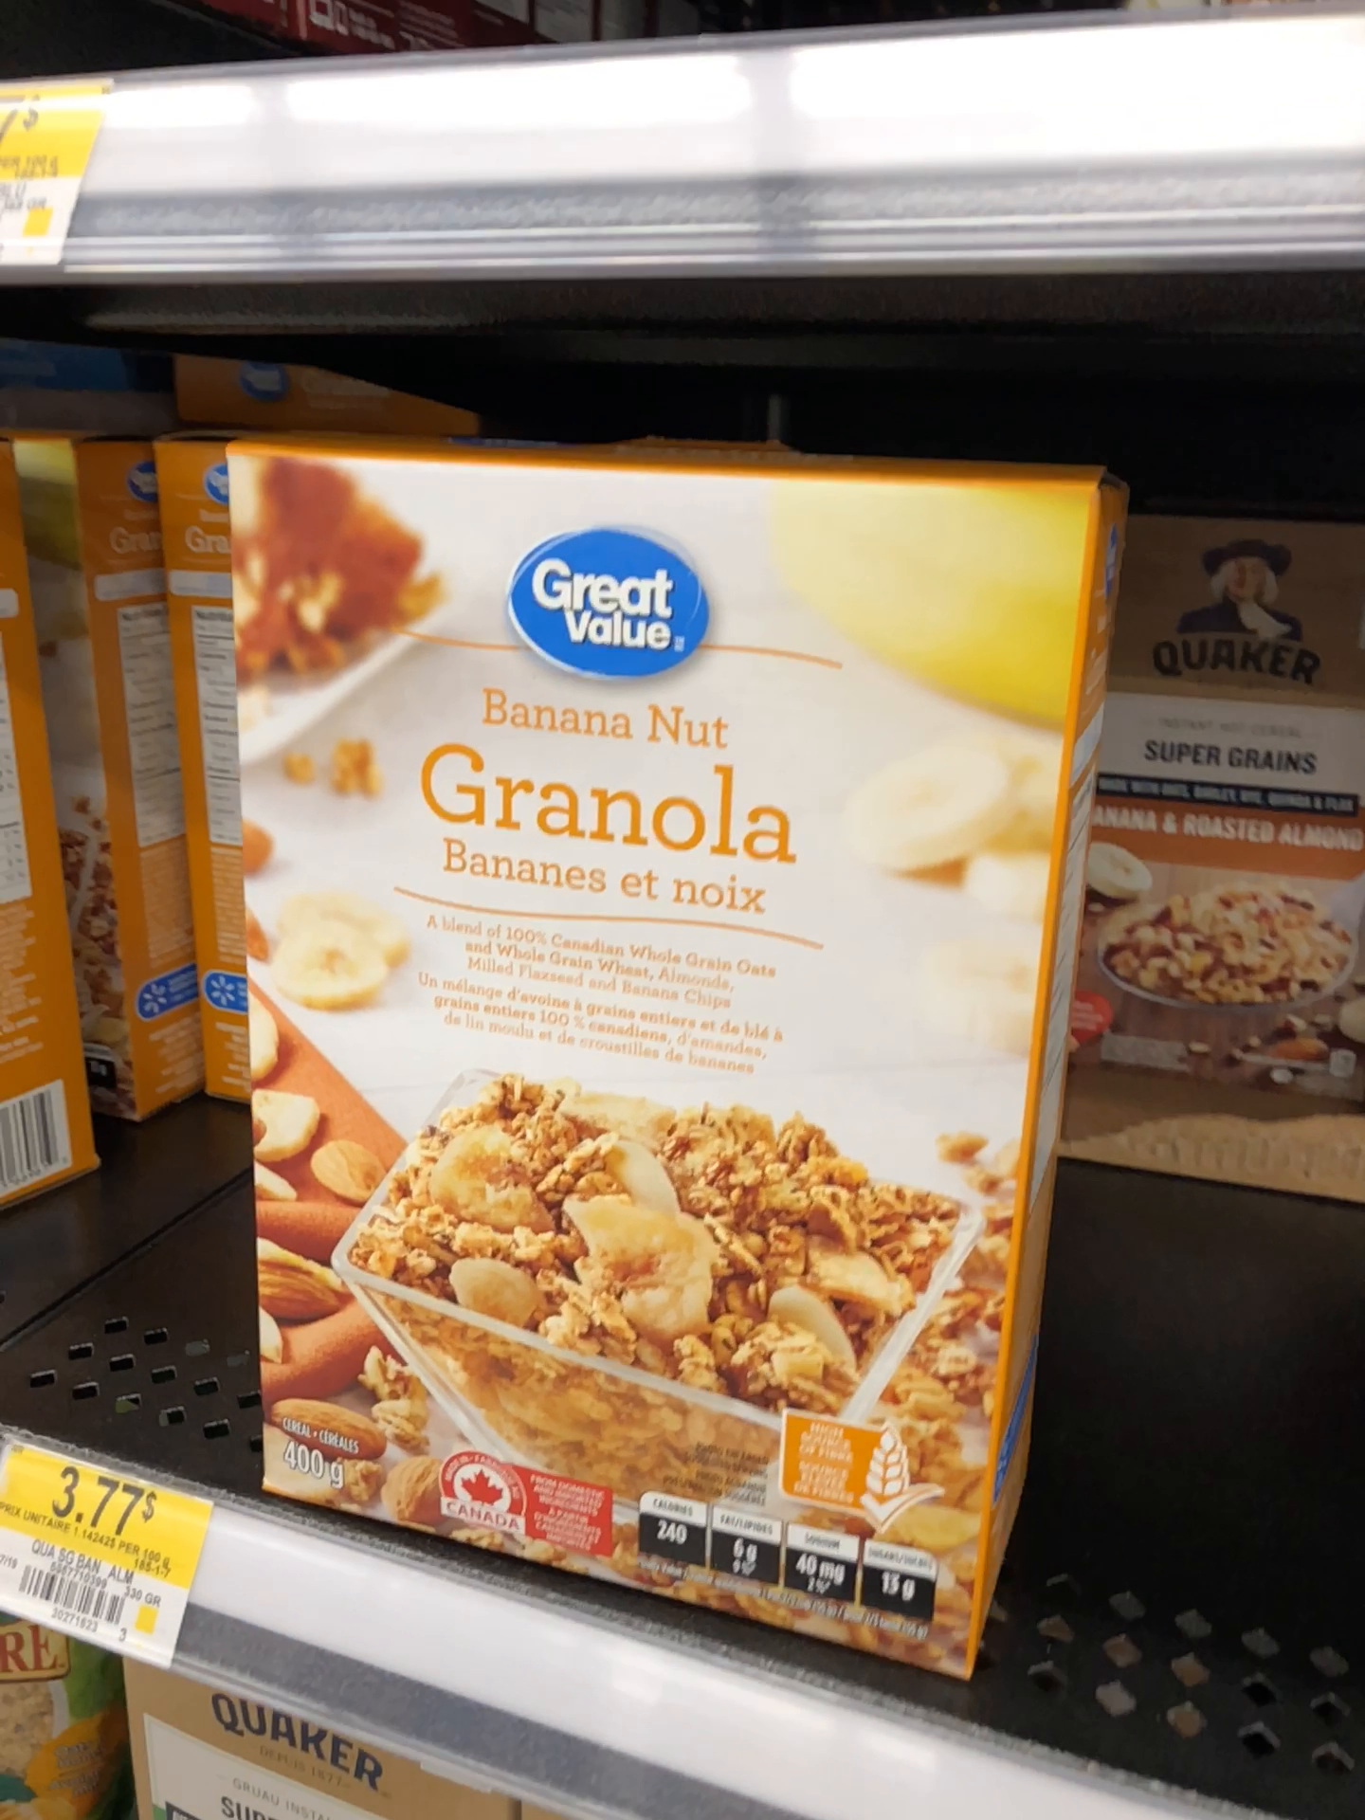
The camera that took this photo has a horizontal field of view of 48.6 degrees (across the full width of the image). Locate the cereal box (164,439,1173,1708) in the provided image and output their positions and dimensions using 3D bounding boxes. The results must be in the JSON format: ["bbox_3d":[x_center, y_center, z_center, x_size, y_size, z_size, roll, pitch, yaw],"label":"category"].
[{"bbox_3d":[-0.004,0.022,0.287,0.160,0.209,0.060,7,18,18],"label":"cereal box"}]
